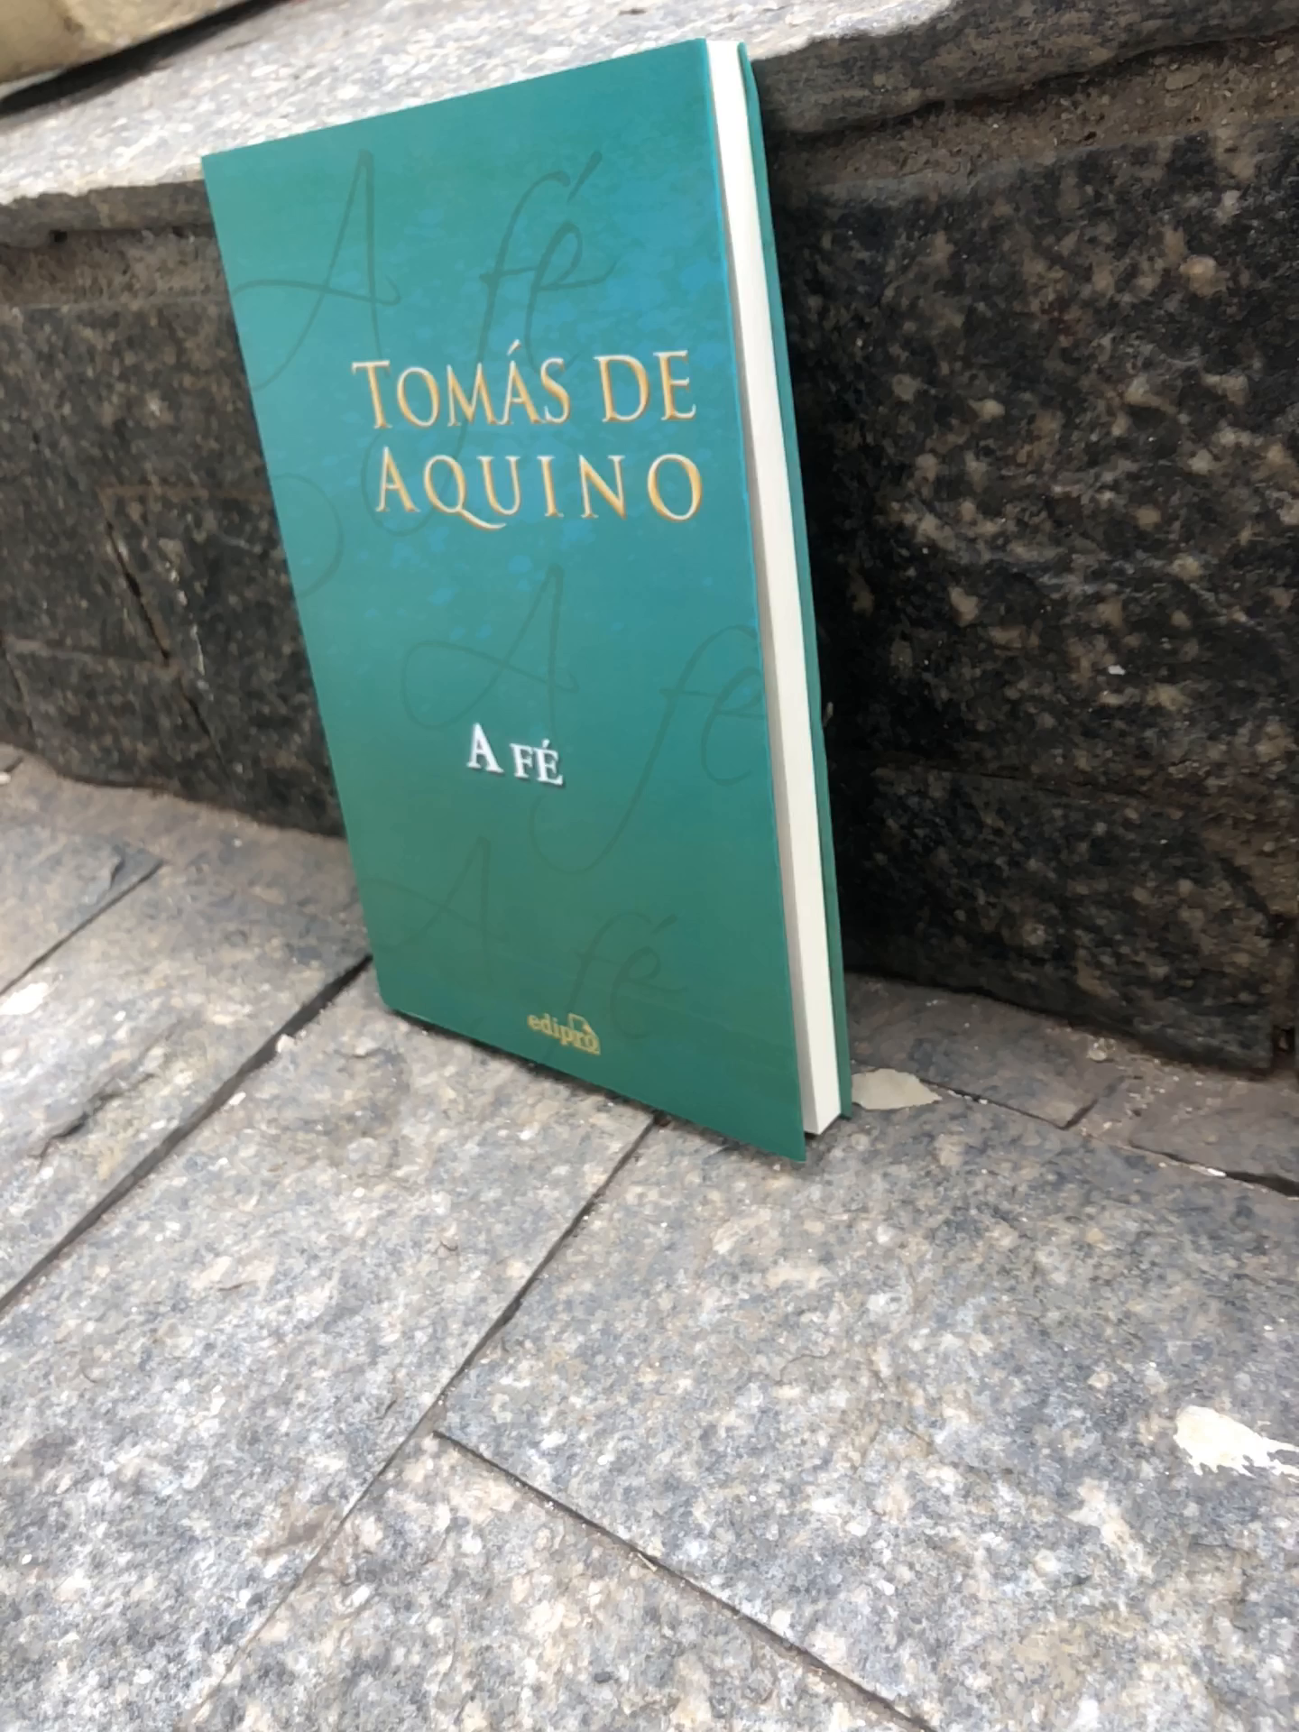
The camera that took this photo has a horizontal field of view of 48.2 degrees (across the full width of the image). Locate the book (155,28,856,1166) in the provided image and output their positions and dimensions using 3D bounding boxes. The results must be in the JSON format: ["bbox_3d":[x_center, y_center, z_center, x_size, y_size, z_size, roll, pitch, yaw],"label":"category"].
[{"bbox_3d":[-0.029,-0.048,0.300,0.143,0.199,0.020,13,31,38],"label":"book"}]
